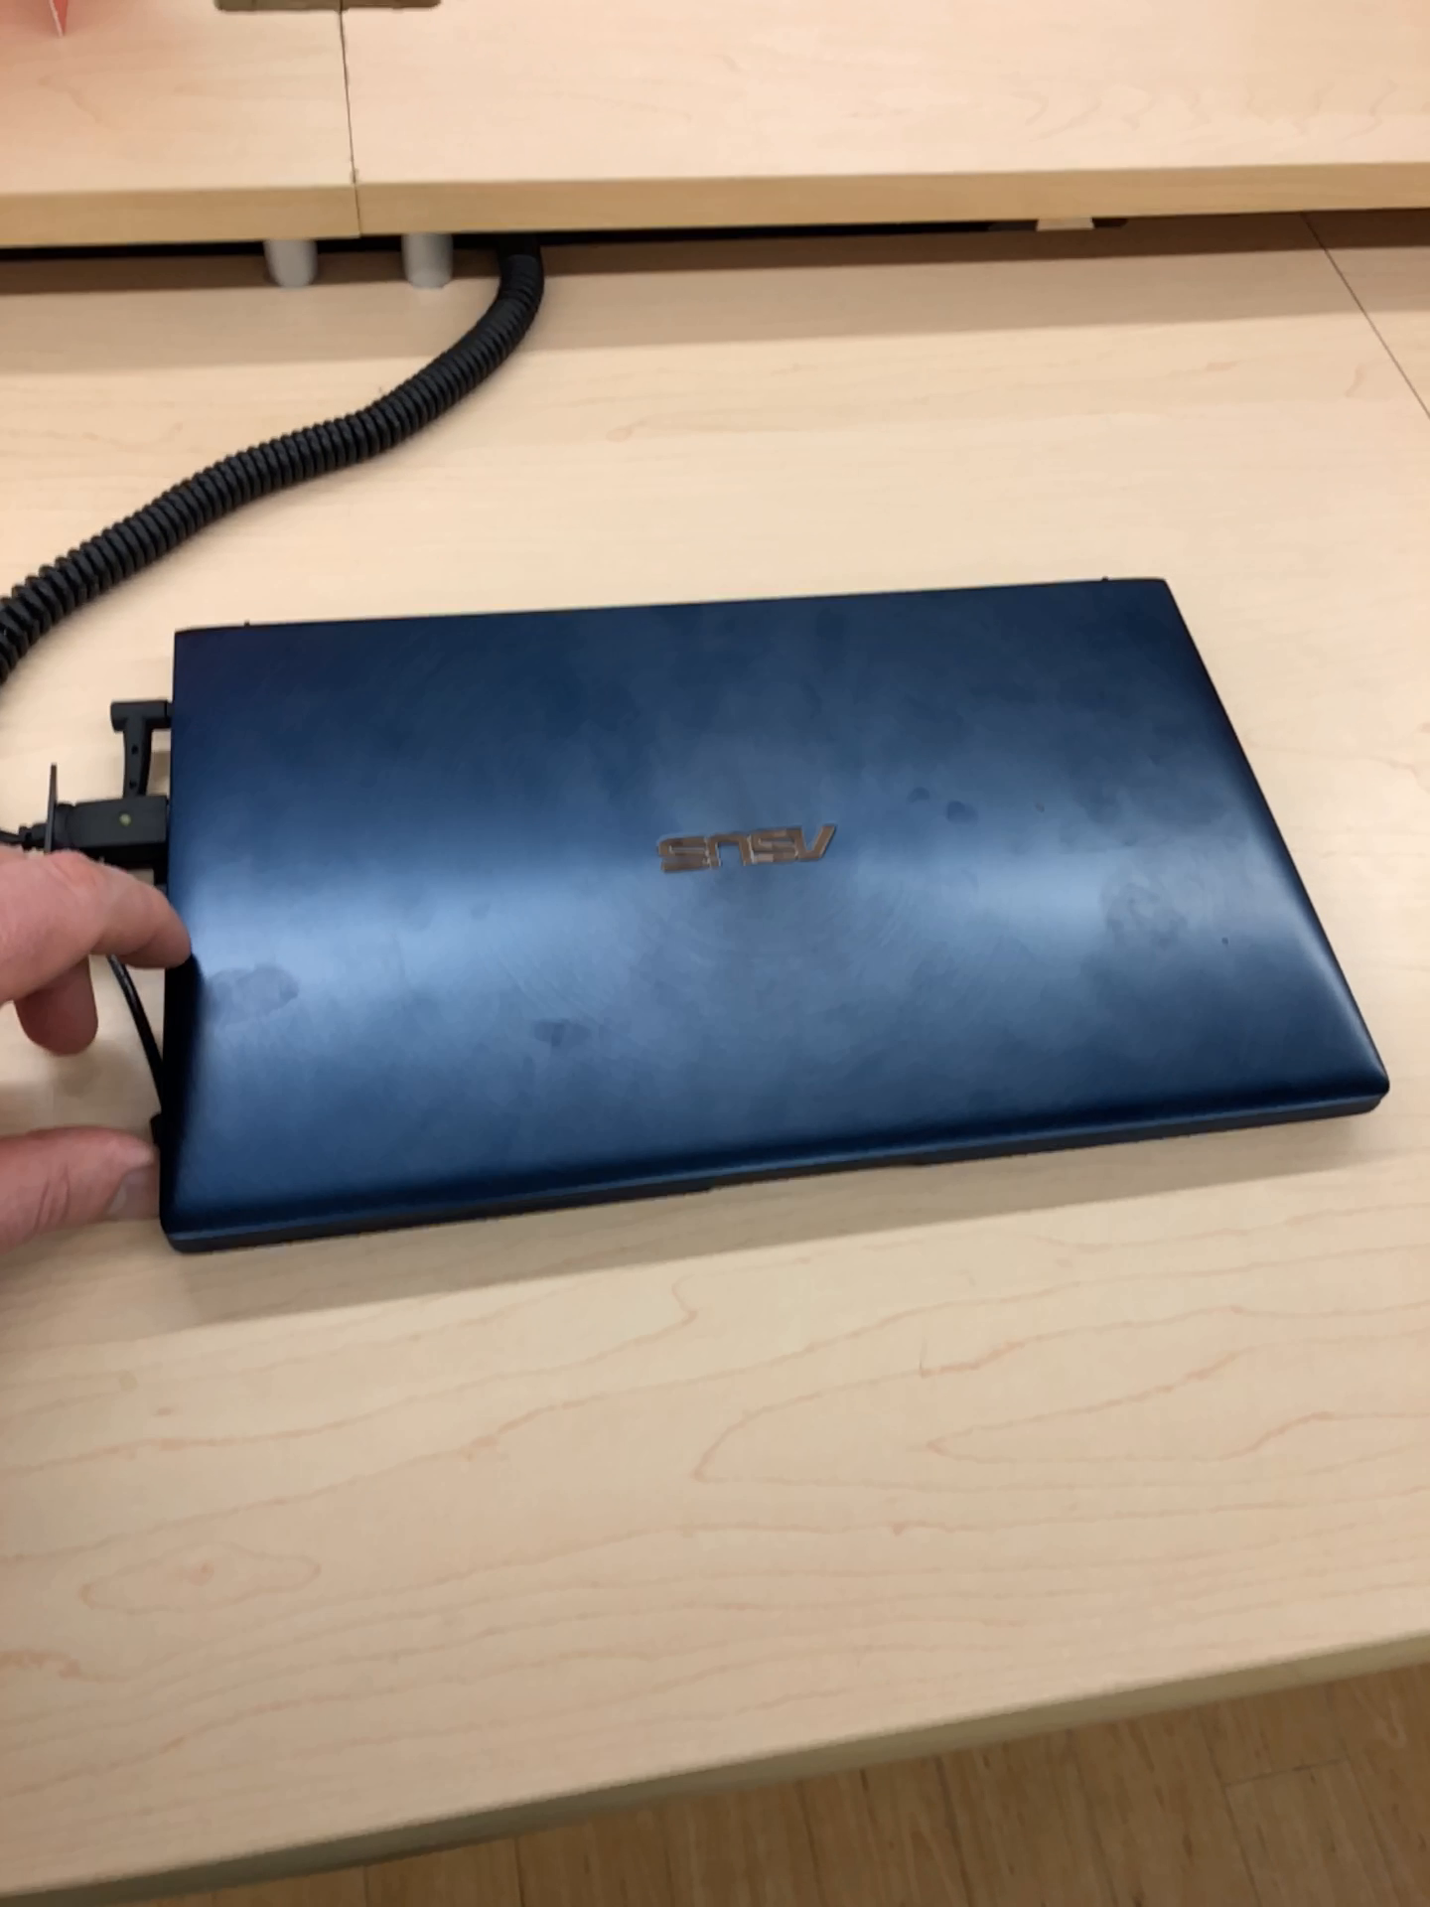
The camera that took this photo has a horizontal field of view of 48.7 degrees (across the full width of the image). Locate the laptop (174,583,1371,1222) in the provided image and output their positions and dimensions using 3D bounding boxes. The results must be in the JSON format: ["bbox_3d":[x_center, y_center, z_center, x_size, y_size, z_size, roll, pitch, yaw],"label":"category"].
[{"bbox_3d":[0.010,-0.028,0.427,0.295,0.001,0.178,-5,58,-9],"label":"laptop"}]
